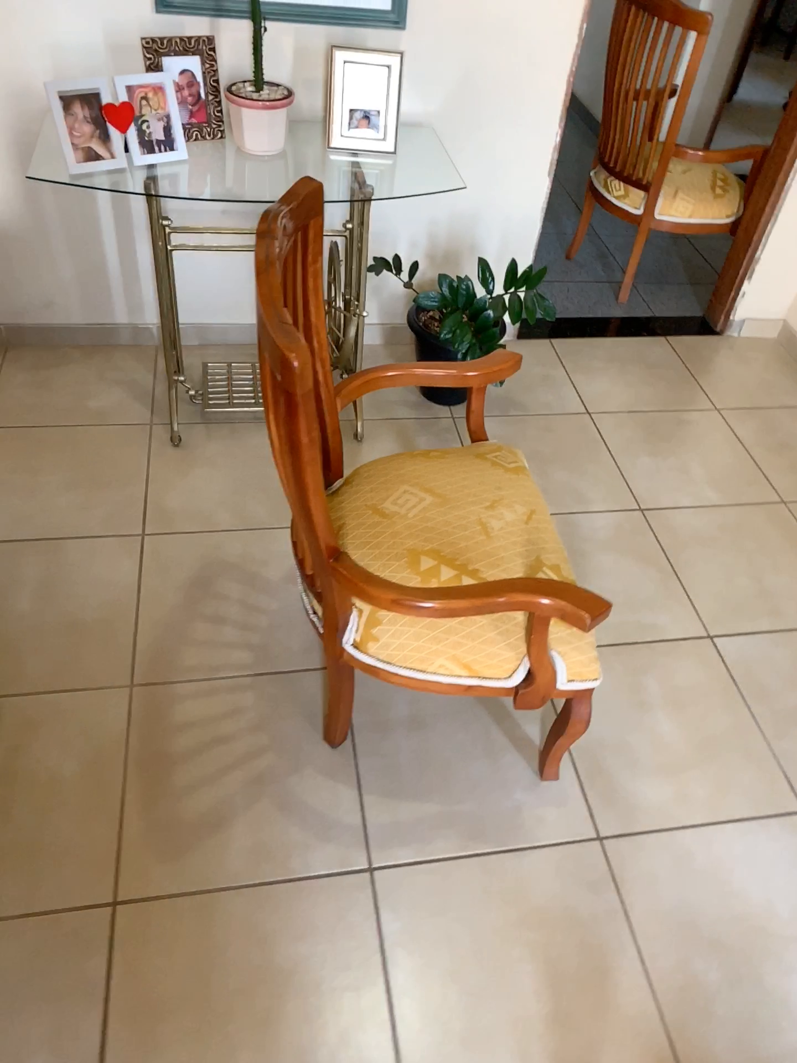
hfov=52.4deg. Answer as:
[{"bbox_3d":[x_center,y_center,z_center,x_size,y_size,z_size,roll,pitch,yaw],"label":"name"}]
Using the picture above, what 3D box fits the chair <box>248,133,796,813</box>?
[{"bbox_3d":[0.065,-0.055,1.461,0.630,1.014,0.623,-1,44,-10],"label":"chair"}]
